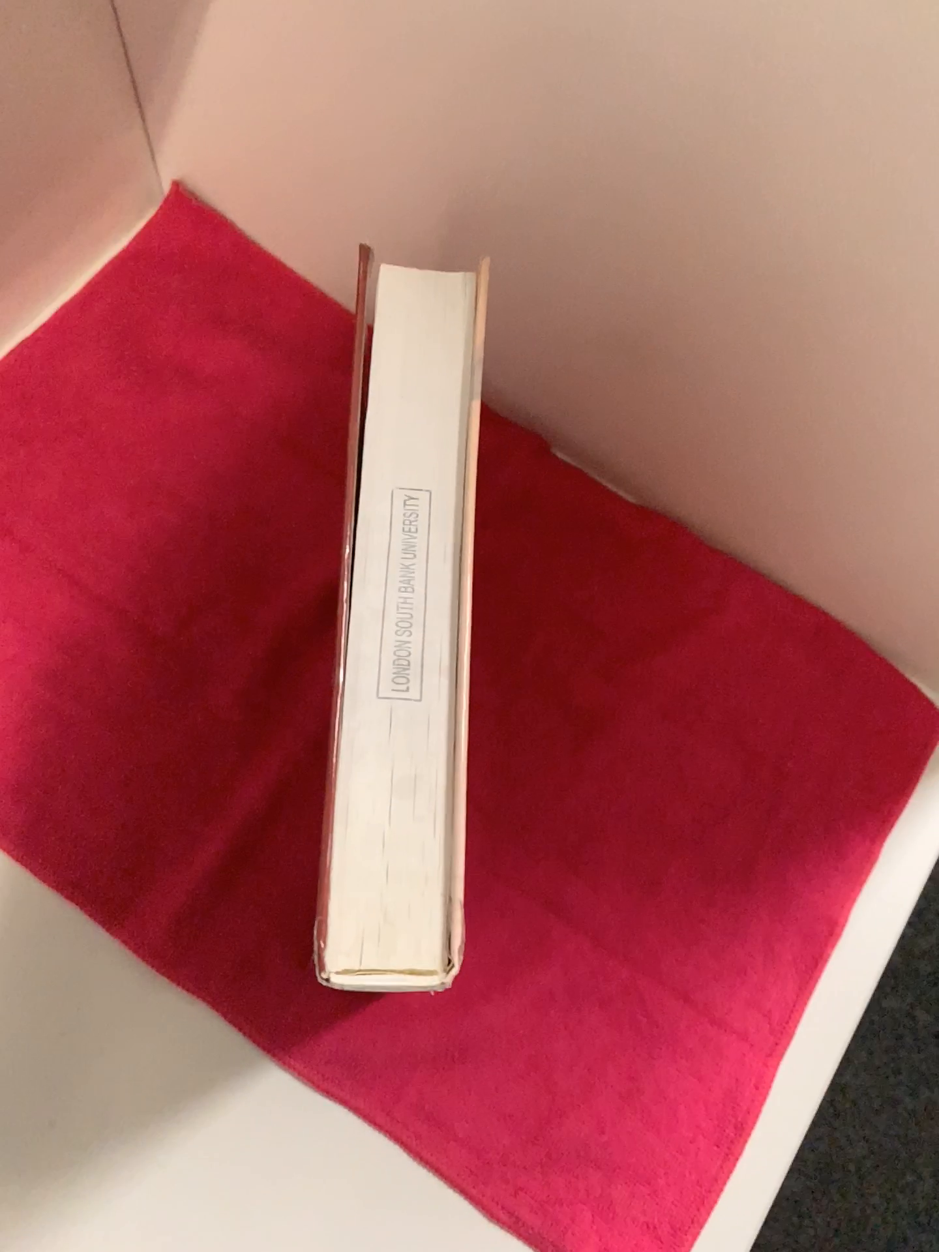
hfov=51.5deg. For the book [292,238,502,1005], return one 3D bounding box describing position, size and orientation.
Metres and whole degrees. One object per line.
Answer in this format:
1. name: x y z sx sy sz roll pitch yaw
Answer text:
1. book: -0.027 0.030 0.374 0.044 0.259 0.212 3 69 -5
